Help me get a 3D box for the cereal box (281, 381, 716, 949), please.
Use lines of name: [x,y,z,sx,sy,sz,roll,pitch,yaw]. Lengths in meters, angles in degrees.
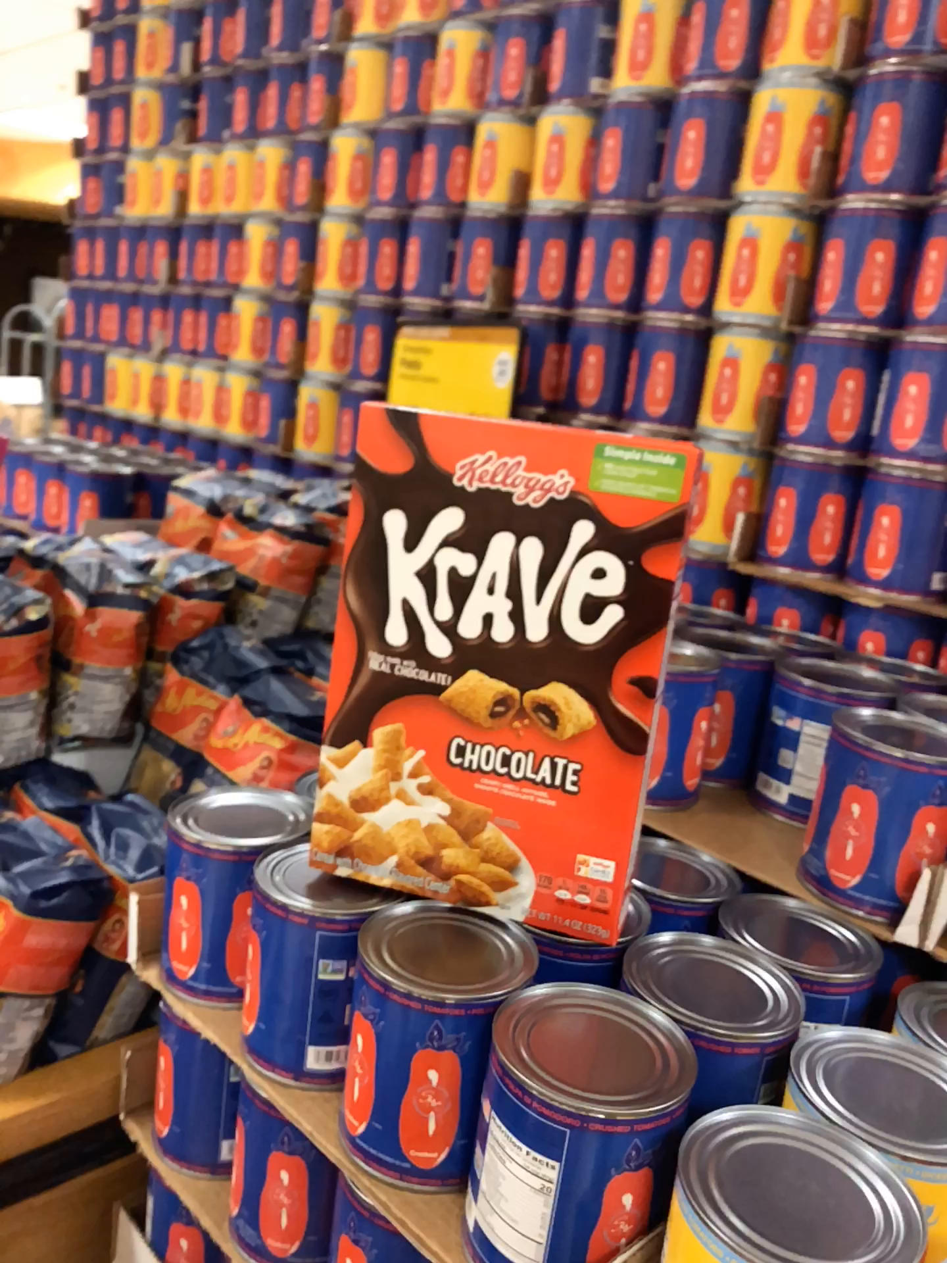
cereal box: [0.010,0.014,0.618,0.210,0.289,0.060,11,11,14]
